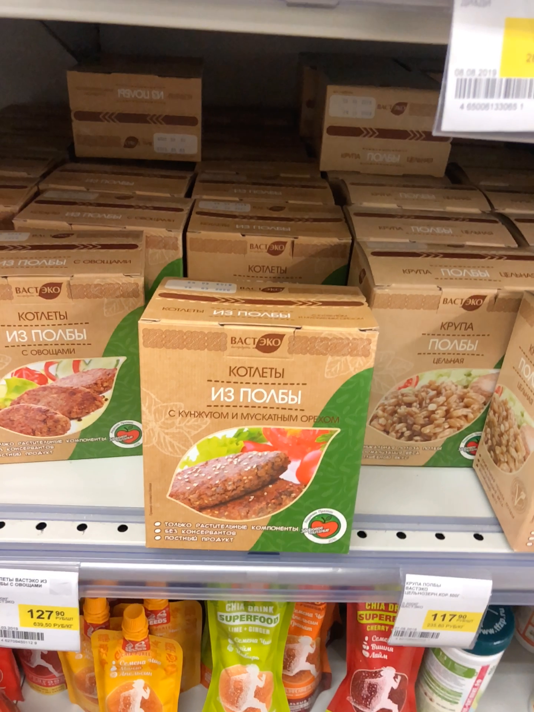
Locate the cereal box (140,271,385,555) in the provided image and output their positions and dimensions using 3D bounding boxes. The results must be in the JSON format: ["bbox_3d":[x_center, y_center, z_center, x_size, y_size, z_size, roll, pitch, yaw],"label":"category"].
[{"bbox_3d":[-0.007,0.031,0.357,0.120,0.139,0.090,3,23,-2],"label":"cereal box"}]
